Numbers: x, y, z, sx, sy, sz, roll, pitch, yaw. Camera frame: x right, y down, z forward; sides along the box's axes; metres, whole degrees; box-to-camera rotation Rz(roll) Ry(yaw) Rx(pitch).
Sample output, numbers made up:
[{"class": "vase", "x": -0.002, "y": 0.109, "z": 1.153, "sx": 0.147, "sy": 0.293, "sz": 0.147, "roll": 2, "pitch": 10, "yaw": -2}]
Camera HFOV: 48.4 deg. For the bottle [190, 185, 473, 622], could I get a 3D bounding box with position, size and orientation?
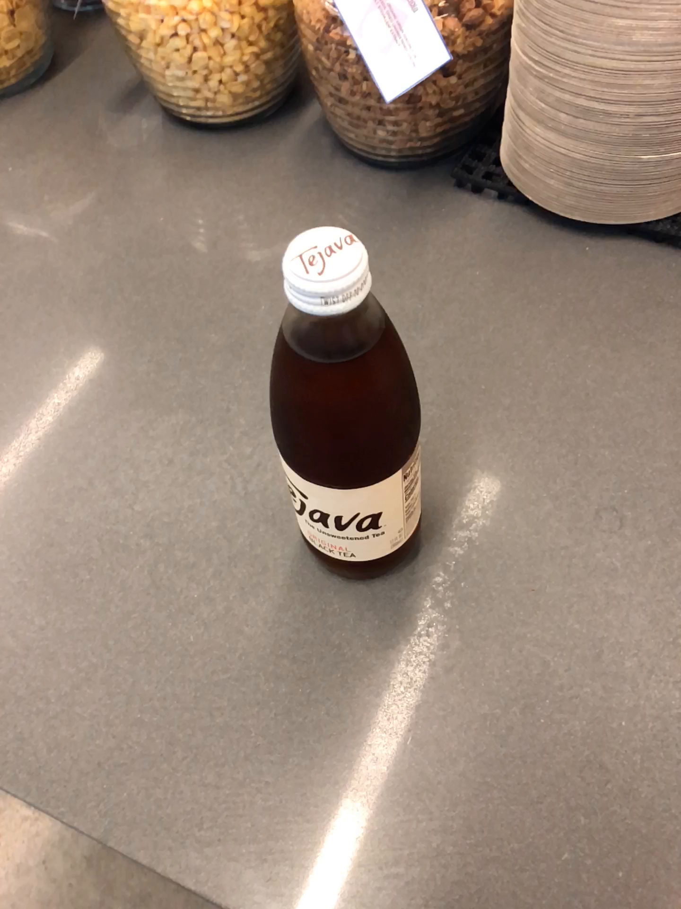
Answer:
[{"class": "bottle", "x": 0.006, "y": -0.007, "z": 0.326, "sx": 0.070, "sy": 0.190, "sz": 0.070, "roll": -3, "pitch": 56, "yaw": 4}]
